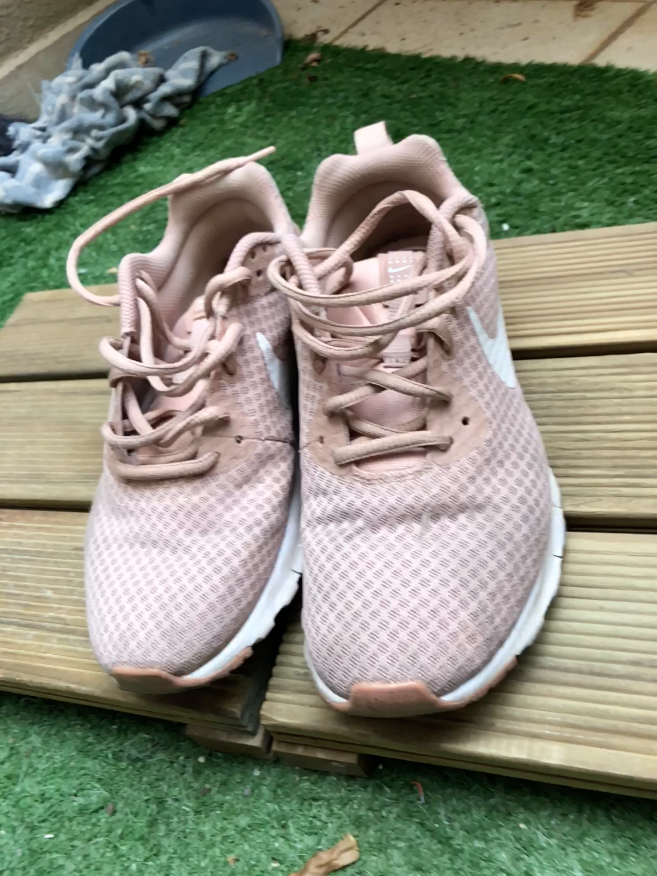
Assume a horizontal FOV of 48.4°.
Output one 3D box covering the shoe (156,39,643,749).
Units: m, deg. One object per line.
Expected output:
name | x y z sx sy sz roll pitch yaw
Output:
shoe | 0.036 -0.032 0.277 0.110 0.089 0.261 -8 49 18

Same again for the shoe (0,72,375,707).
shoe | -0.057 -0.034 0.309 0.110 0.089 0.261 -7 49 19
